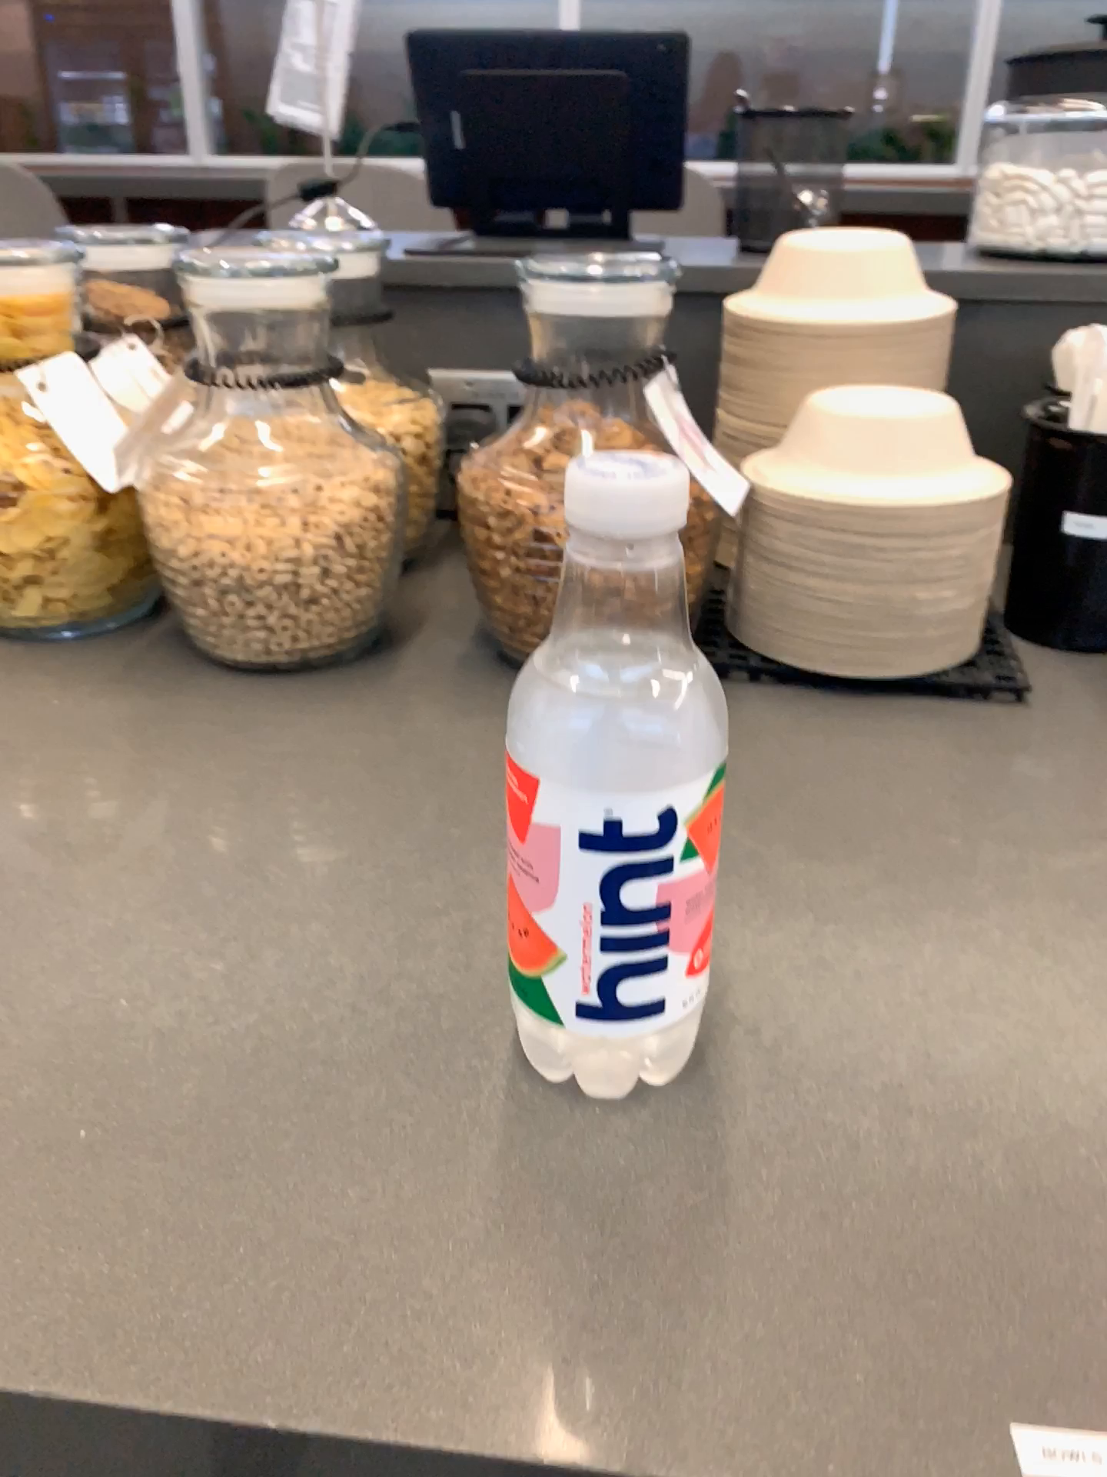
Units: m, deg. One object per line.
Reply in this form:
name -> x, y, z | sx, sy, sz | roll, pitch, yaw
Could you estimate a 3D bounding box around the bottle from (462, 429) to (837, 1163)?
bottle -> 0.023, 0.018, 0.348 | 0.070, 0.199, 0.070 | 1, 27, 0
